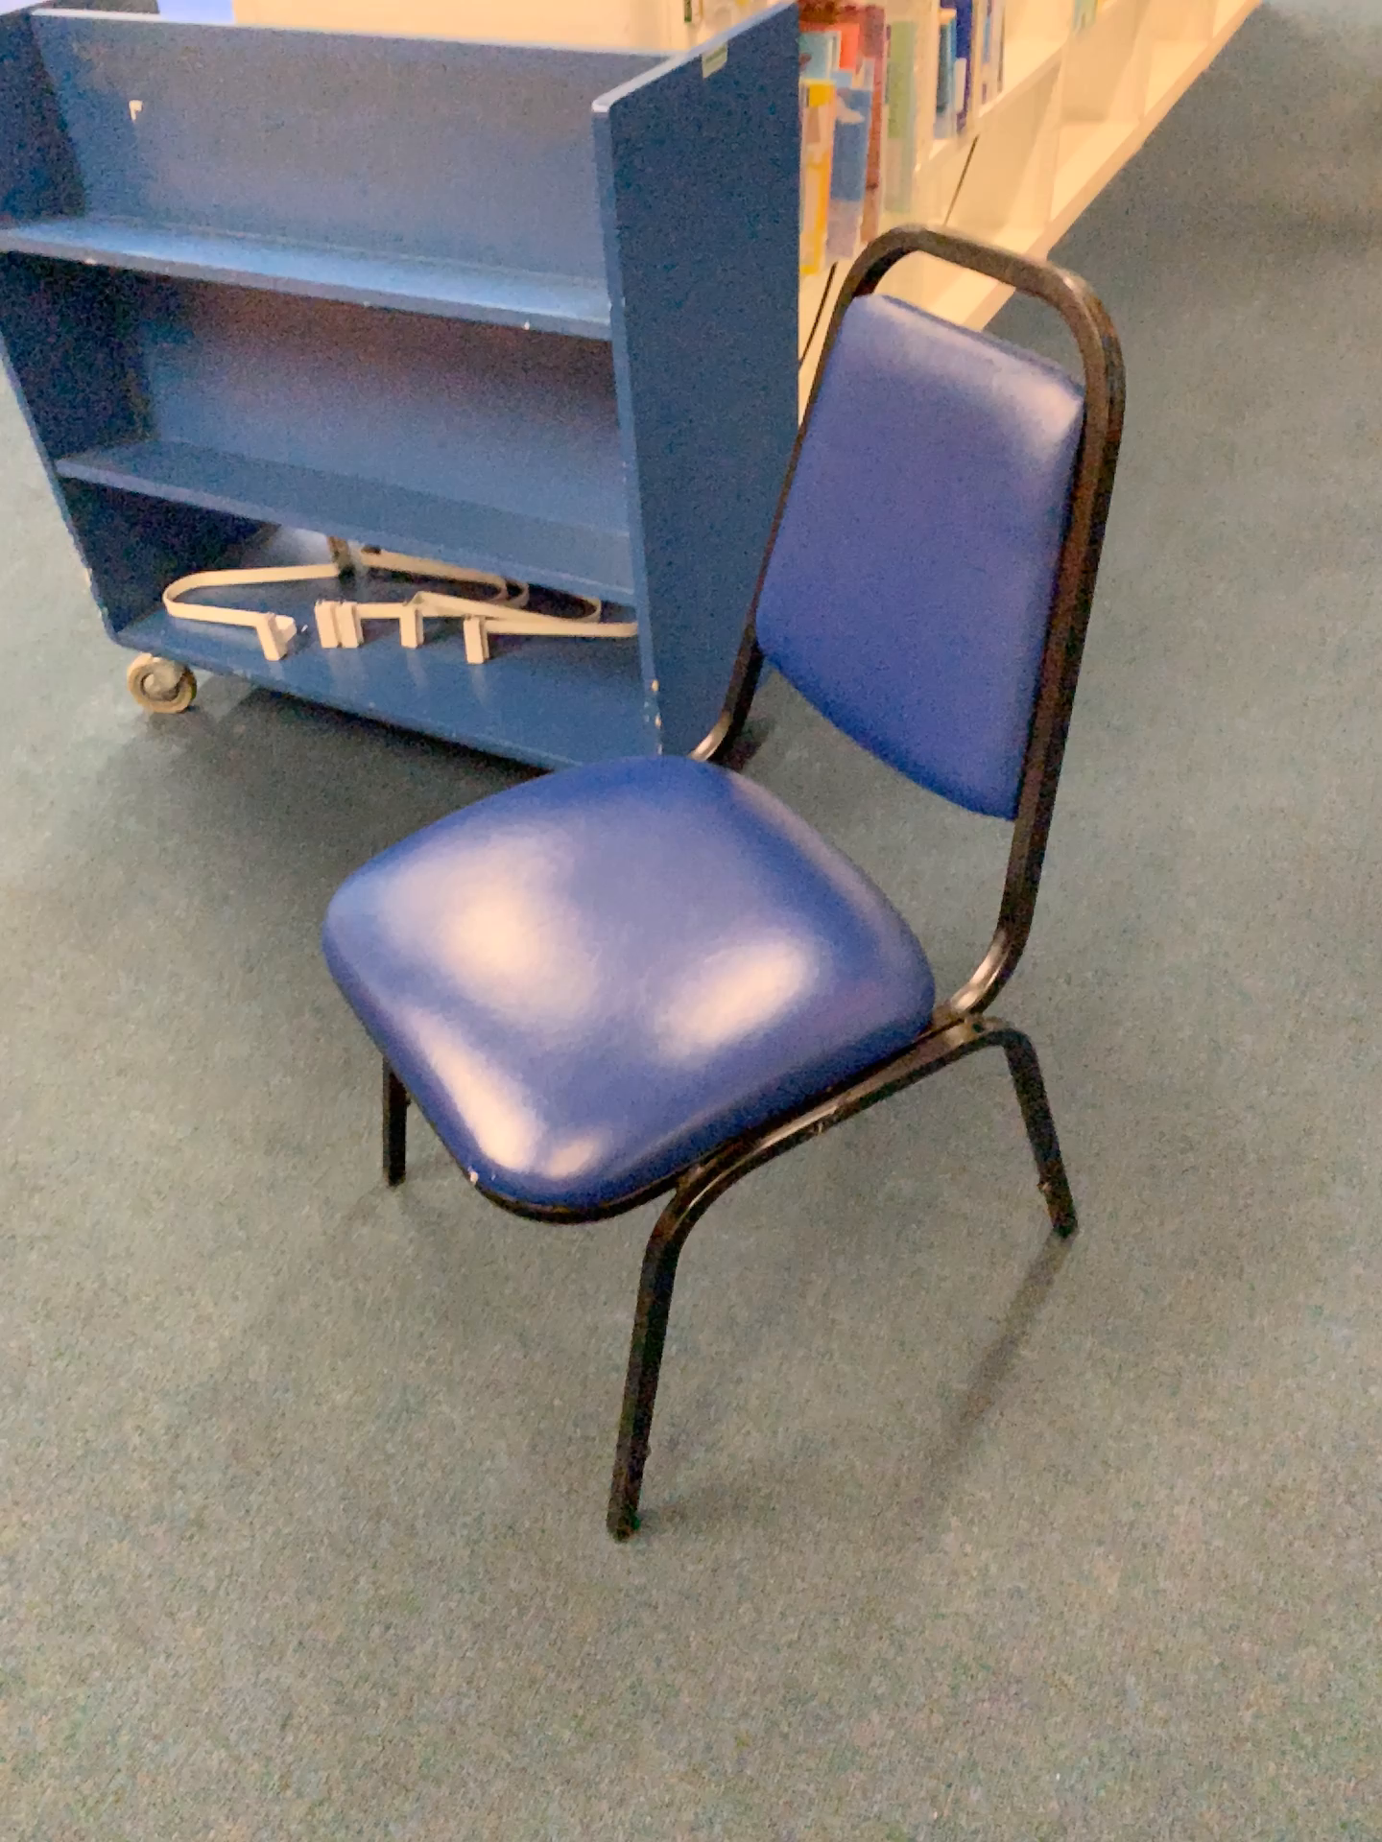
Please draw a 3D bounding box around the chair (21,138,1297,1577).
[{"bbox_3d":[-0.027,-0.047,1.171,0.582,0.881,0.564,-26,47,-22],"label":"chair"}]
